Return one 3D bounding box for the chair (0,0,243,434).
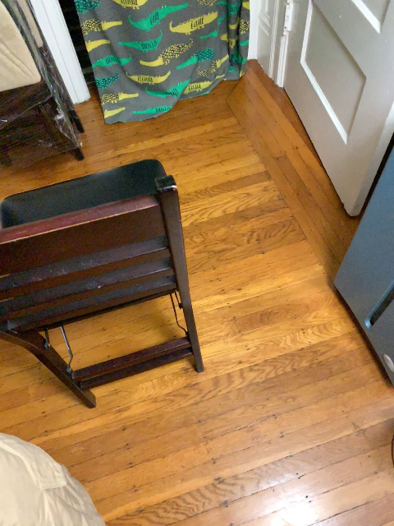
[{"bbox_3d":[-0.244,-0.074,0.869,0.490,0.867,0.552,-18,58,-6],"label":"chair"}]
